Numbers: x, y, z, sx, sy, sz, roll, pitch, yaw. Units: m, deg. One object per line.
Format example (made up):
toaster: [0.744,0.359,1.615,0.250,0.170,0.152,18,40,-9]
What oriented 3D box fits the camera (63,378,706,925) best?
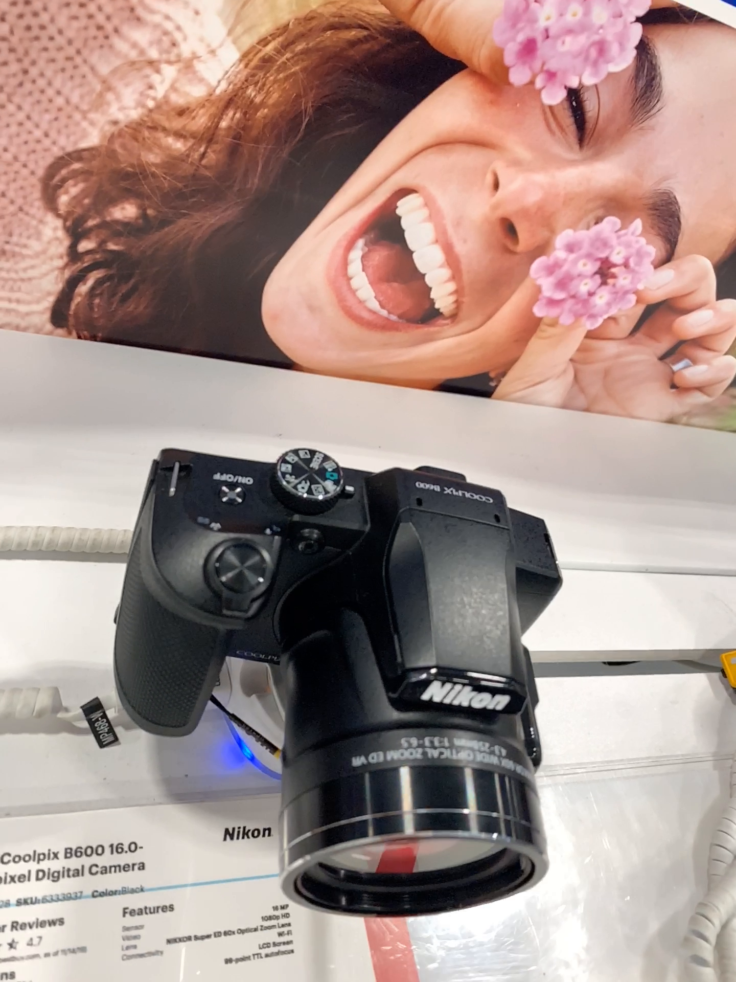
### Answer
camera: [-0.005,0.045,0.200,0.120,0.080,0.100,10,44,-19]
